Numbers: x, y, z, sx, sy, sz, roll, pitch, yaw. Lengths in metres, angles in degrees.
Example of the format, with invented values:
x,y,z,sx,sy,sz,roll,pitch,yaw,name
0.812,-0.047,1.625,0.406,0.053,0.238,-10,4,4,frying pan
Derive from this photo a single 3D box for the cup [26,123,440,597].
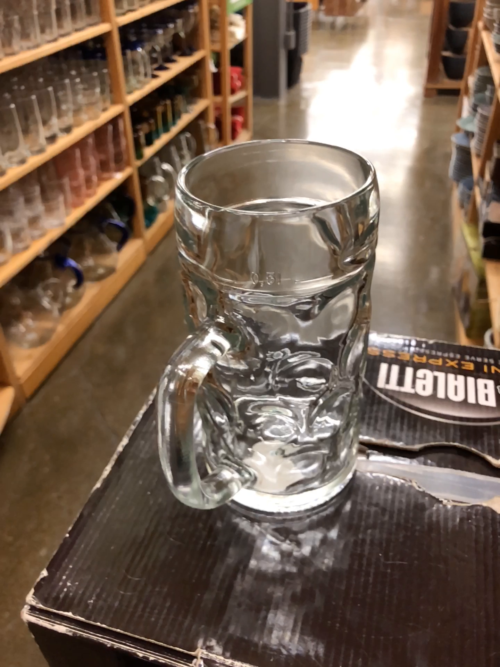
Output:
x,y,z,sx,sy,sz,roll,pitch,yaw,name
0.005,0.001,0.245,0.100,0.136,0.129,17,41,24,cup
